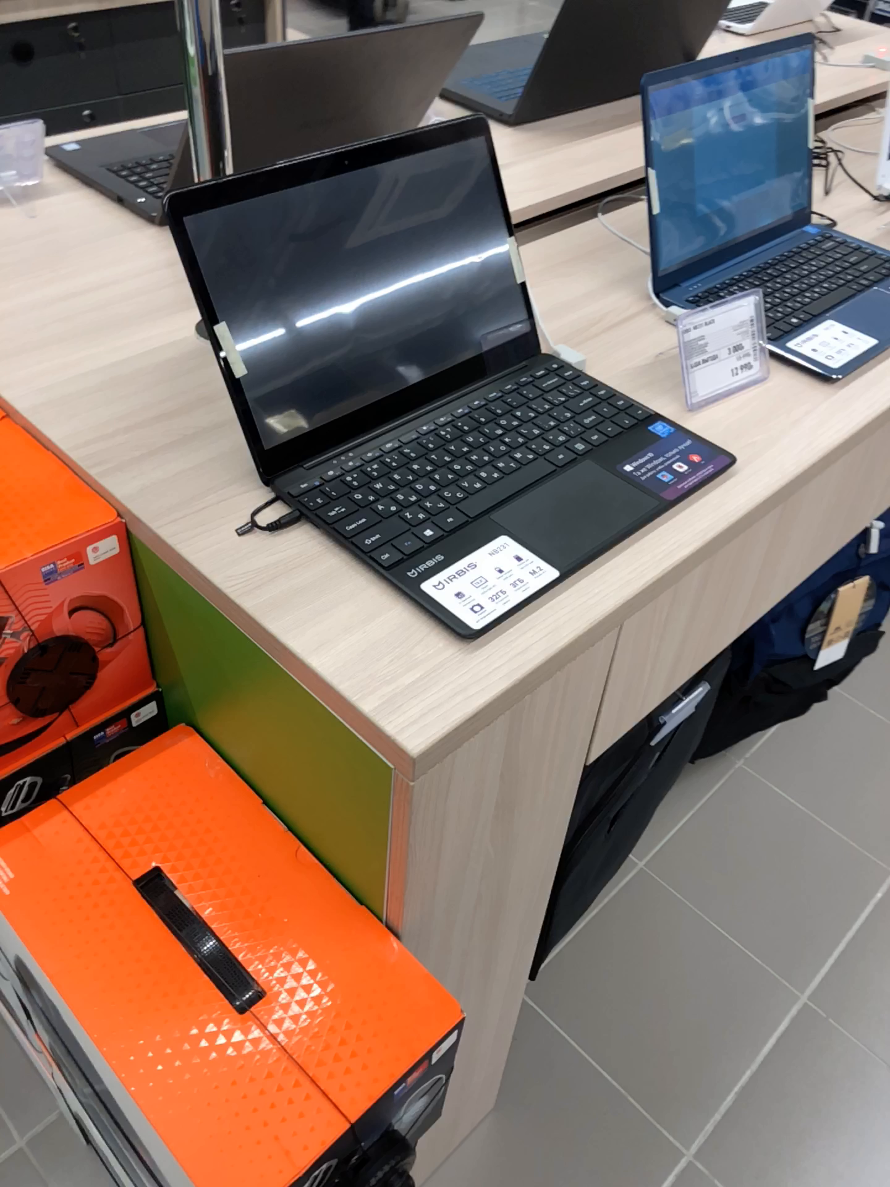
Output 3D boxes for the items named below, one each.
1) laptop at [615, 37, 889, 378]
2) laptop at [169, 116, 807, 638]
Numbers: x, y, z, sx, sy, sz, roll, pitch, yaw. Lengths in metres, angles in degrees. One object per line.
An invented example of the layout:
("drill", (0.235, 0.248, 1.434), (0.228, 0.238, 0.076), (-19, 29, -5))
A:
("laptop", (0.383, -0.404, 0.980), (0.309, 0.186, 0.266), (-31, 53, -33))
("laptop", (0.026, -0.185, 0.713), (0.305, 0.172, 0.307), (-32, 54, -33))
